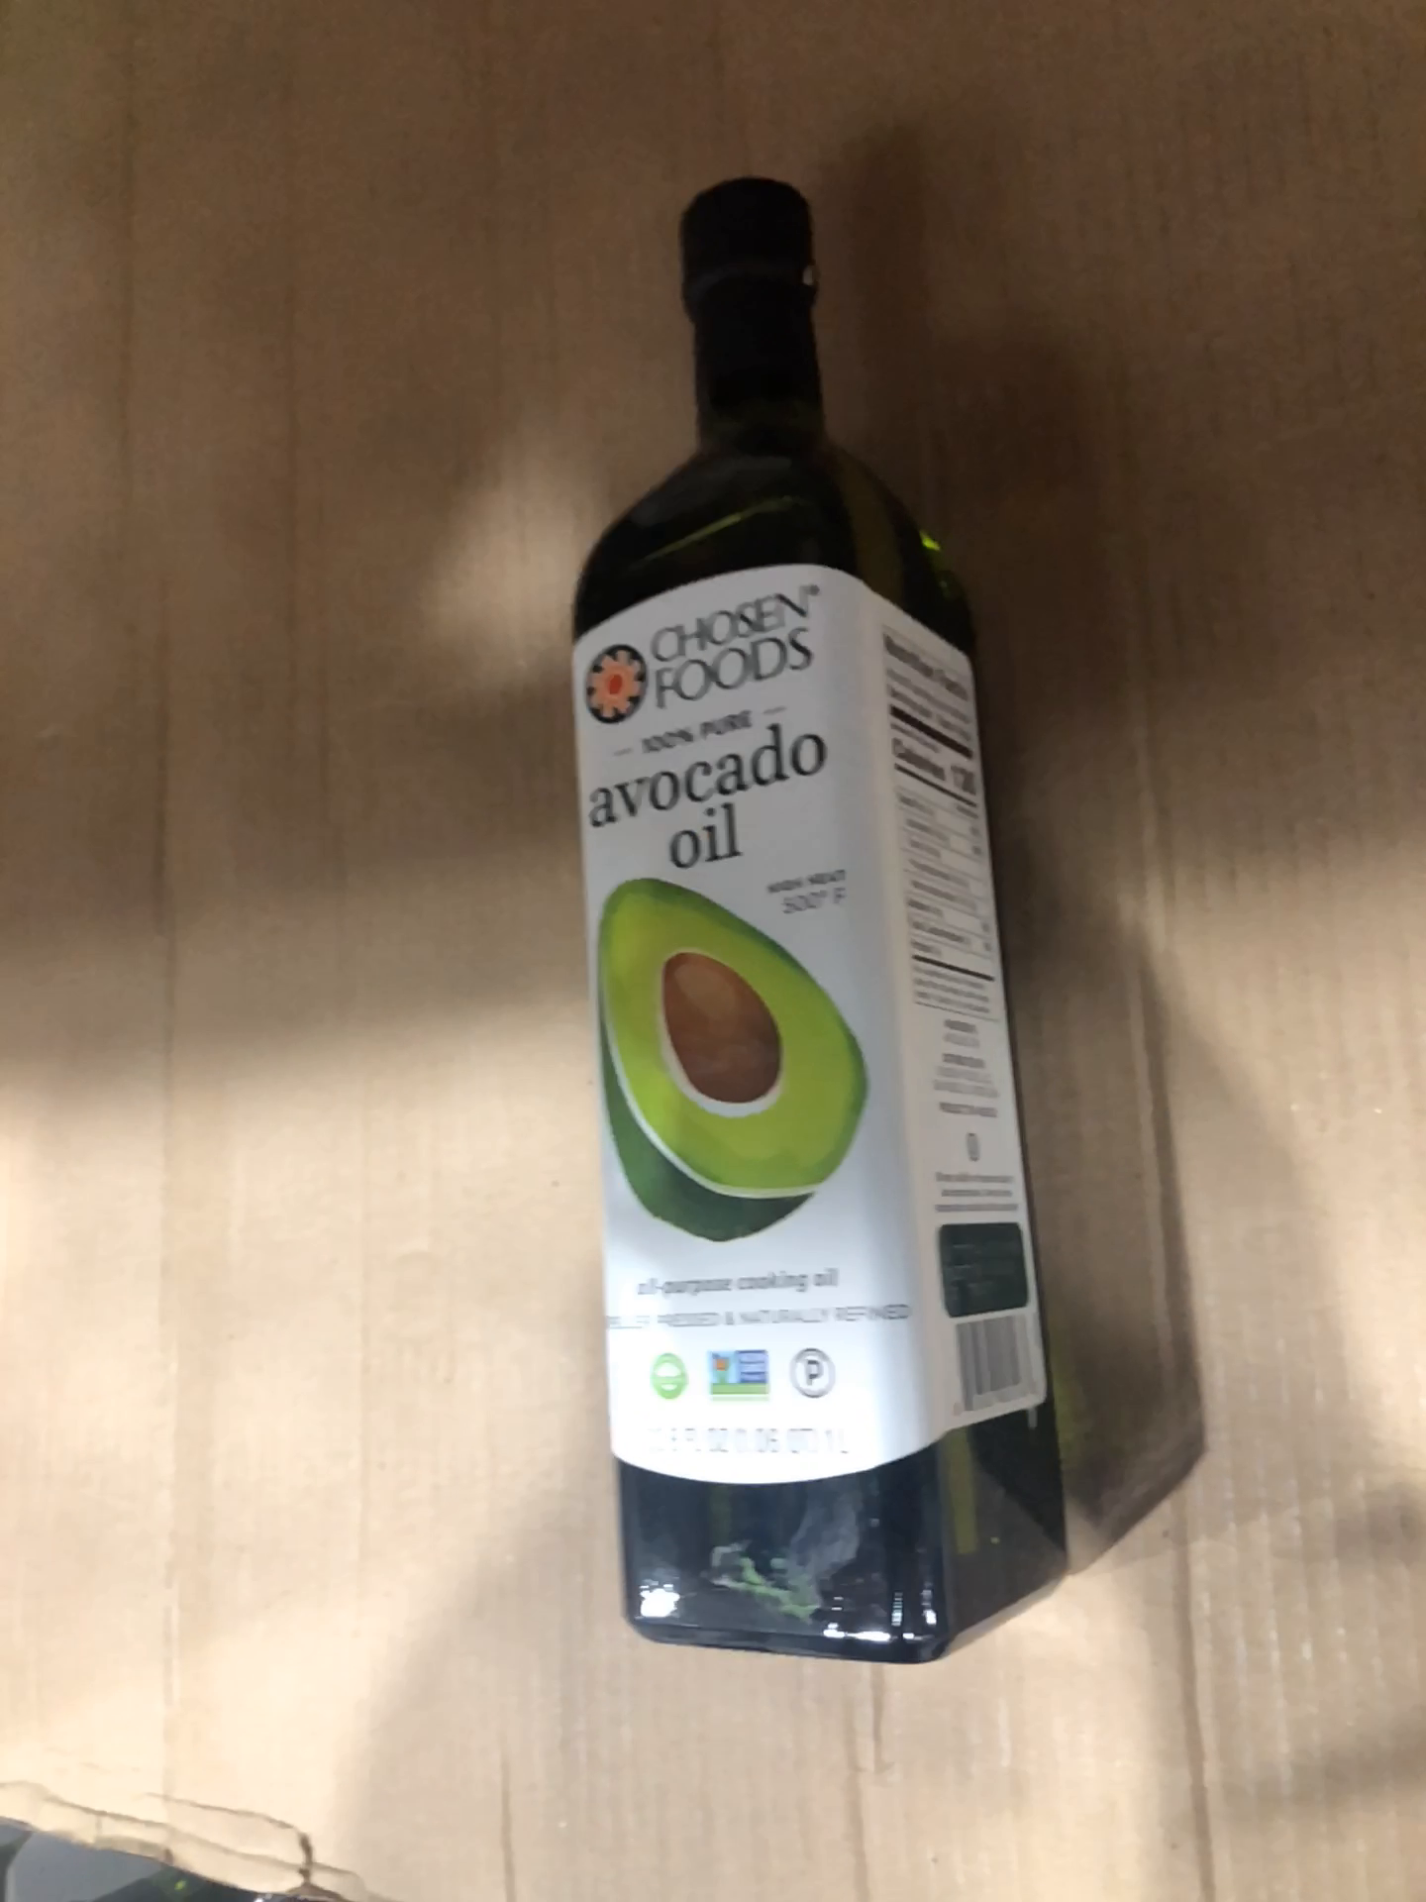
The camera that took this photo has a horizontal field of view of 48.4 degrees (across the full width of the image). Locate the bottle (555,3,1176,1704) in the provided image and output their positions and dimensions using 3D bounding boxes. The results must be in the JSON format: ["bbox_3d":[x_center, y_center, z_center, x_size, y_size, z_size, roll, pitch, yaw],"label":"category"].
[{"bbox_3d":[0.028,-0.023,0.342,0.087,0.074,0.320,-10,77,30],"label":"bottle"}]
